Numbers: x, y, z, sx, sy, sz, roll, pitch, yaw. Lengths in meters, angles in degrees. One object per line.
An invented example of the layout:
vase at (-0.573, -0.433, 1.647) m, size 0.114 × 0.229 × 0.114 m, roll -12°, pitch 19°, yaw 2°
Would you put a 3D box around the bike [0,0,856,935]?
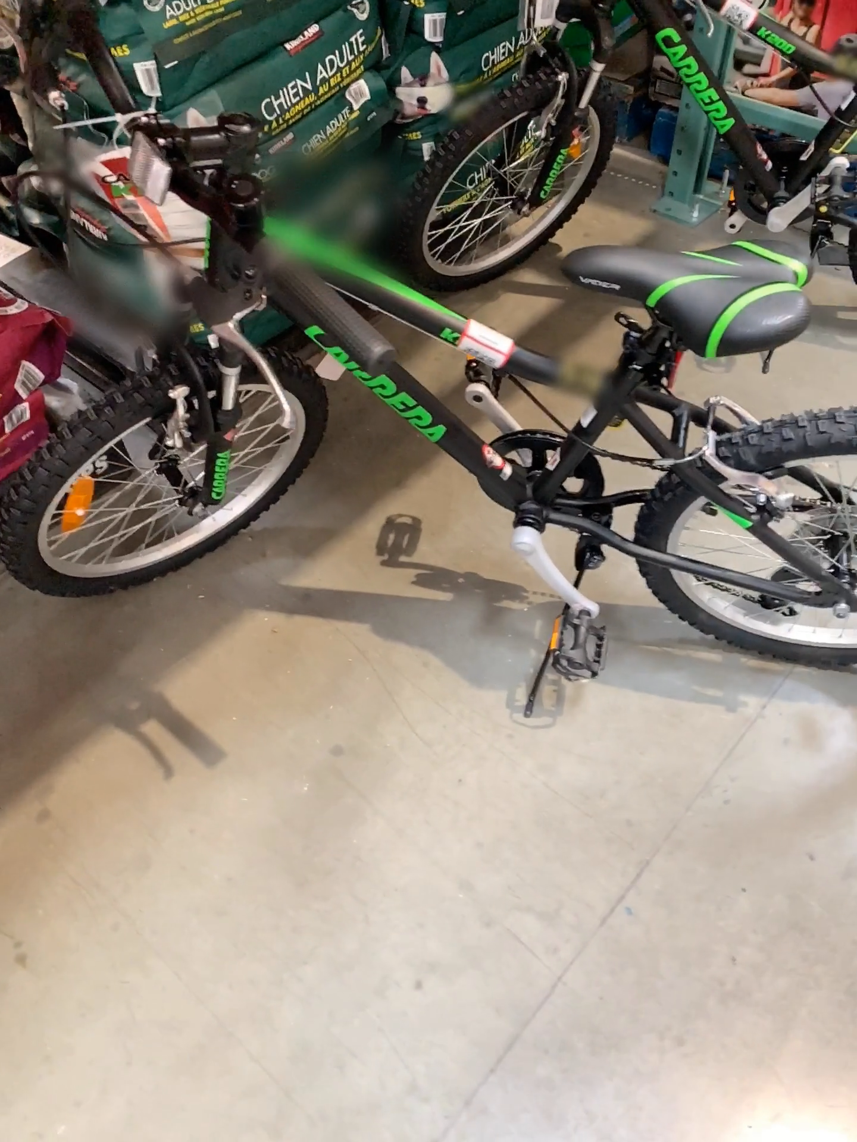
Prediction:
bike at (0.096, -0.114, 0.949) m, size 1.304 × 0.856 × 0.711 m, roll 2°, pitch 51°, yaw 3°
